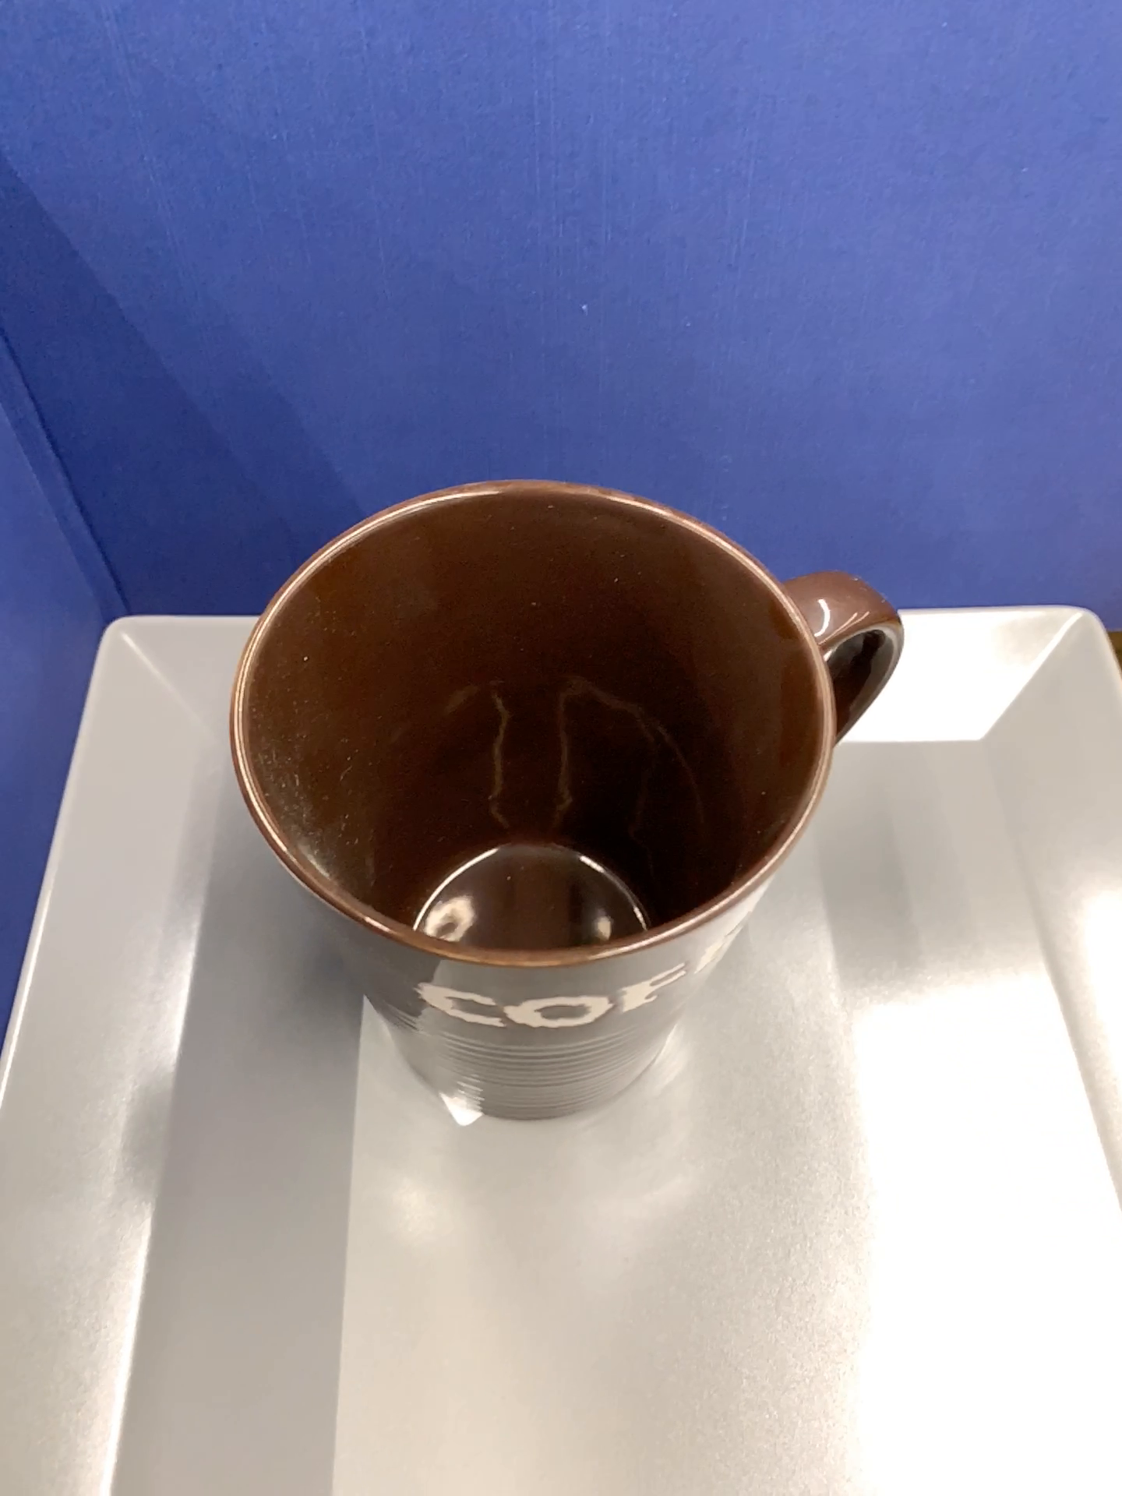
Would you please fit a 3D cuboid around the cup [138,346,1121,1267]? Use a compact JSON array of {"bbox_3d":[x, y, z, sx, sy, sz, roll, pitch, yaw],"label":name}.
[{"bbox_3d":[0.011,0.010,0.224,0.128,0.098,0.089,-30,60,-20],"label":"cup"}]
